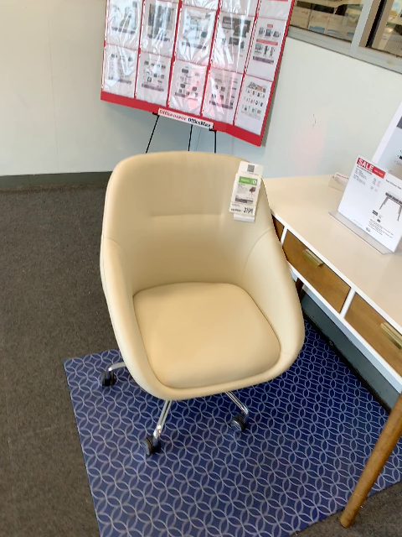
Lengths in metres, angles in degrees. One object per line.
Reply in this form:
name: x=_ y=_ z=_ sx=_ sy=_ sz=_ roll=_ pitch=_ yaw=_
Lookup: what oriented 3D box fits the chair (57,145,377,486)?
chair: x=-0.051 y=0.084 z=1.343 sx=0.671 sy=0.736 sz=0.693 roll=-8 pitch=39 yaw=-23
